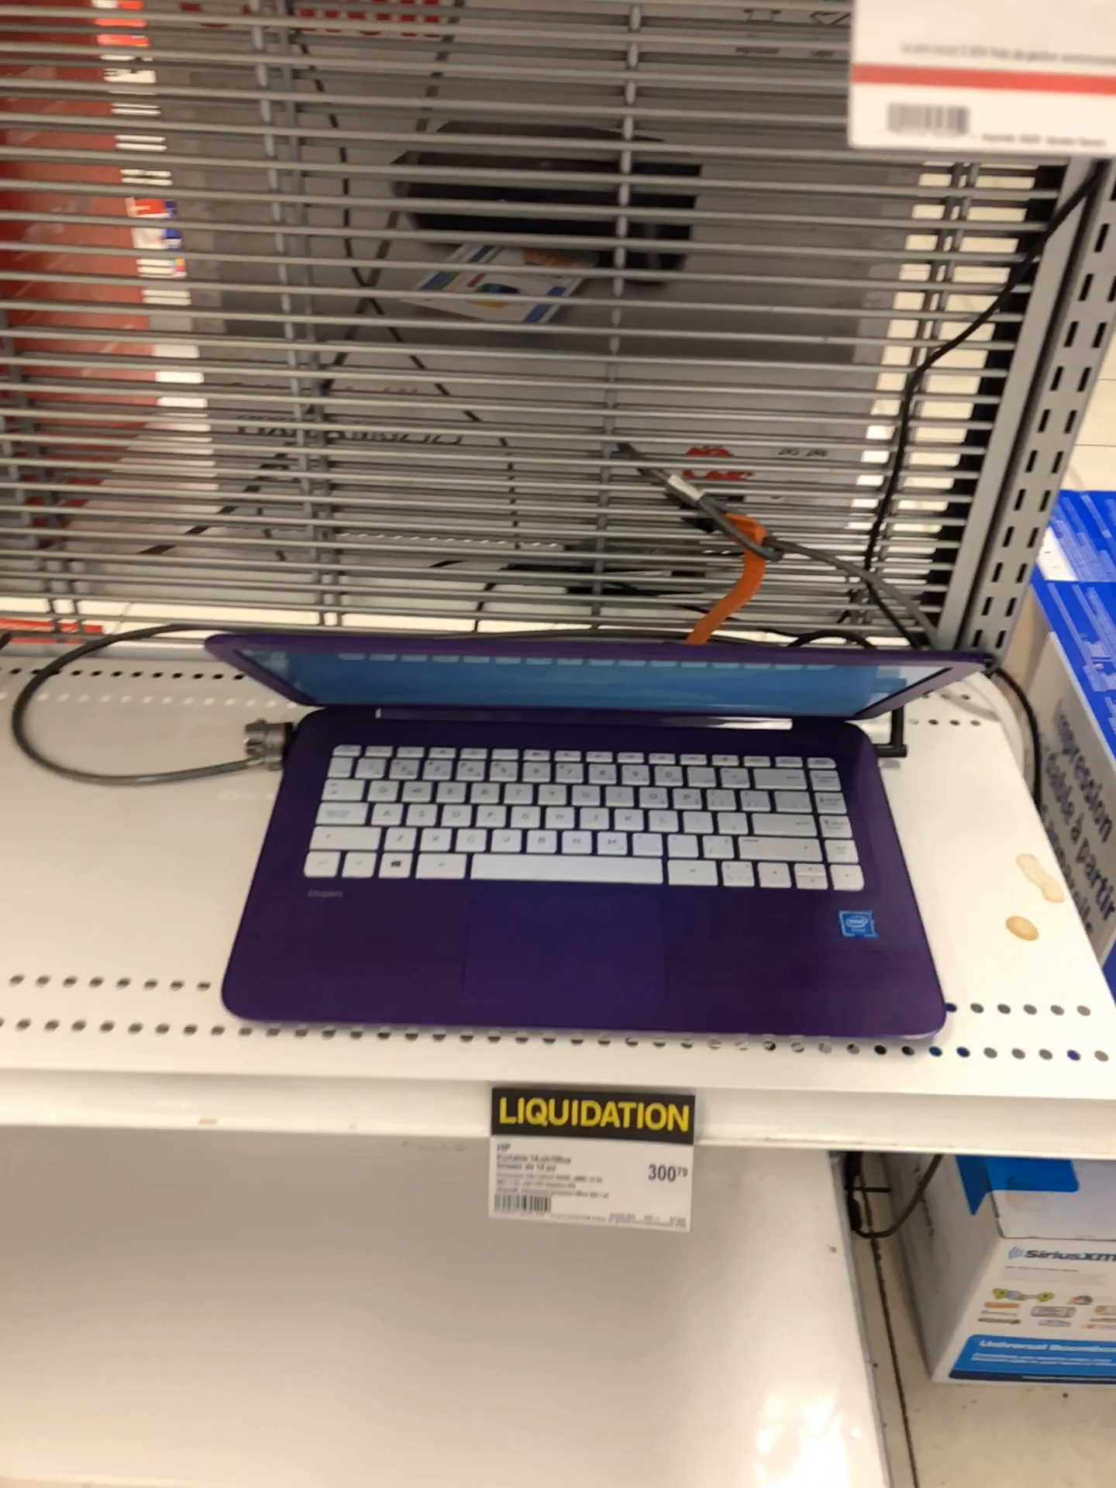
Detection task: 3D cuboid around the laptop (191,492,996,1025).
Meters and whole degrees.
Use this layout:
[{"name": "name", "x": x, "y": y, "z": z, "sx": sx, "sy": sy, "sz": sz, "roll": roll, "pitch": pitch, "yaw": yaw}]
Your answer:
[{"name": "laptop", "x": 0.016, "y": 0.000, "z": 0.582, "sx": 0.305, "sy": 0.138, "sz": 0.207, "roll": 2, "pitch": 42, "yaw": 1}]
